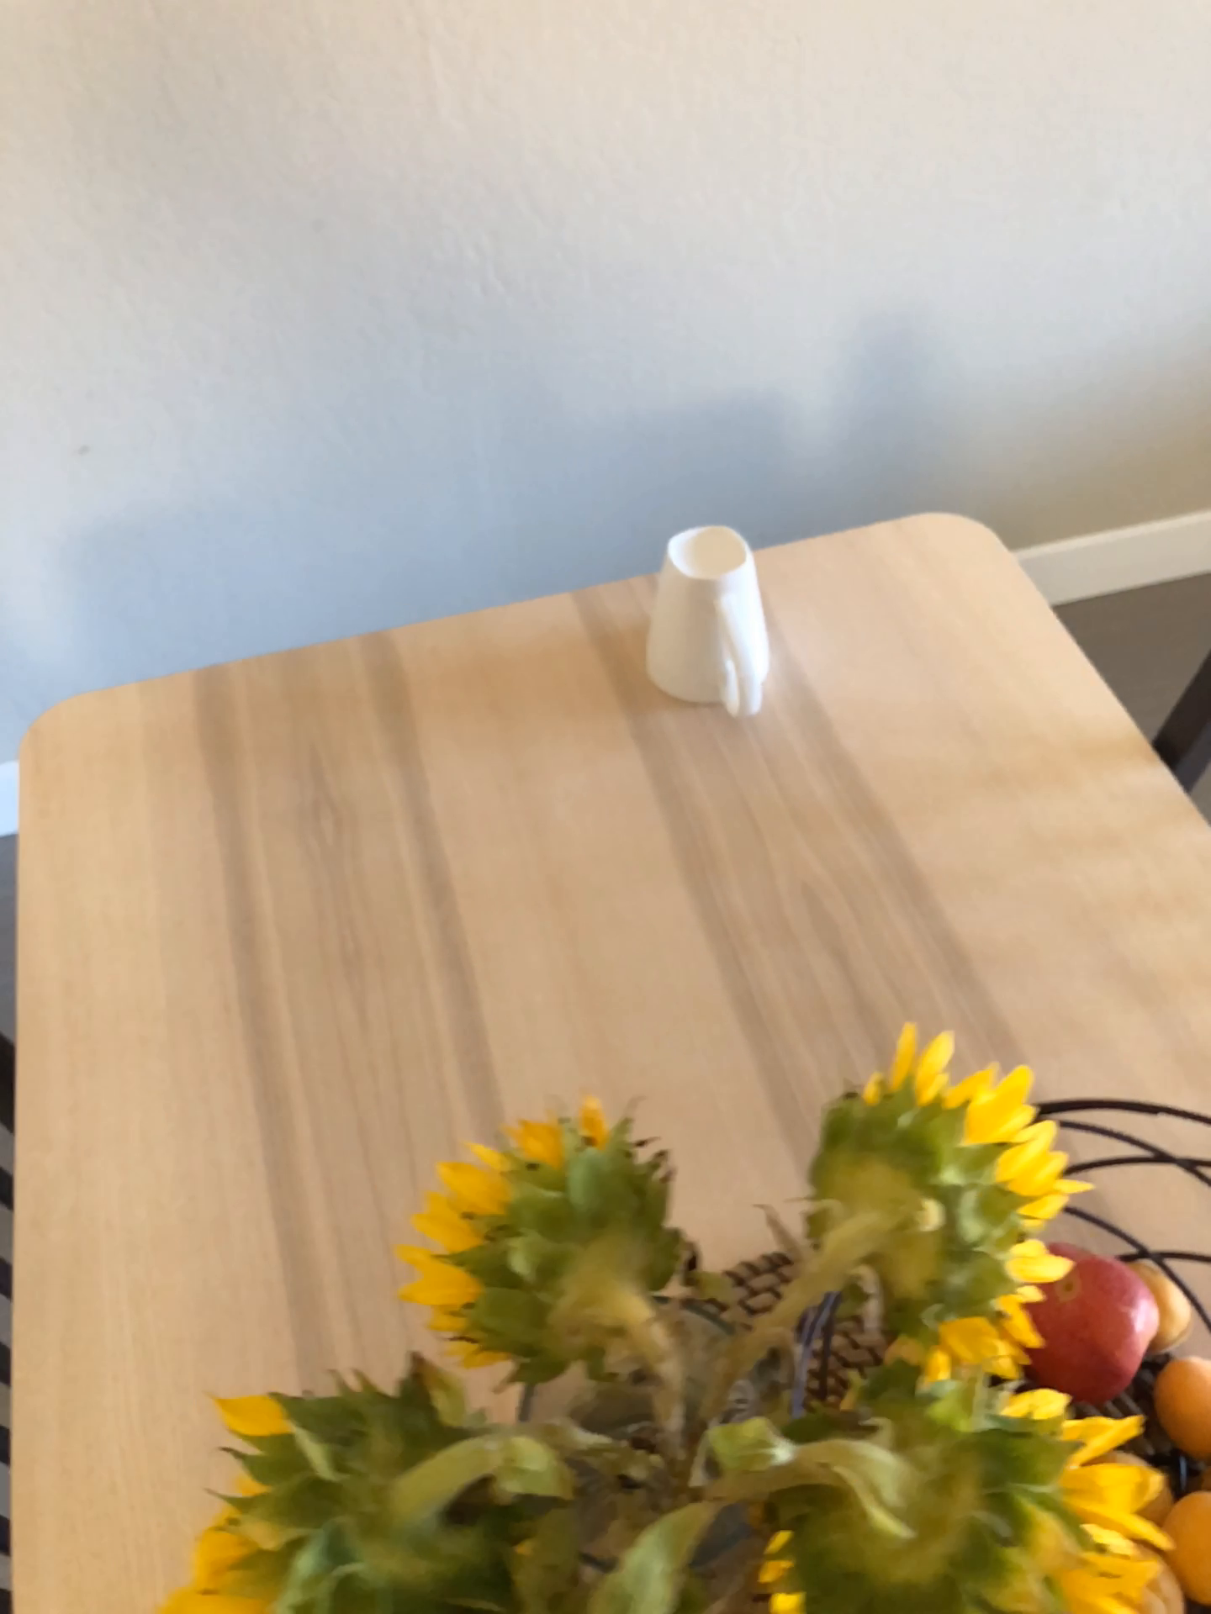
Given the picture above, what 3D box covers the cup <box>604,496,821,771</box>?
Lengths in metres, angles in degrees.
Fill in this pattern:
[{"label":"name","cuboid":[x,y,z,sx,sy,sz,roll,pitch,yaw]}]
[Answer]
[{"label":"cup","cuboid":[0.075,-0.129,0.998,0.100,0.120,0.141,-19,51,-14]}]
